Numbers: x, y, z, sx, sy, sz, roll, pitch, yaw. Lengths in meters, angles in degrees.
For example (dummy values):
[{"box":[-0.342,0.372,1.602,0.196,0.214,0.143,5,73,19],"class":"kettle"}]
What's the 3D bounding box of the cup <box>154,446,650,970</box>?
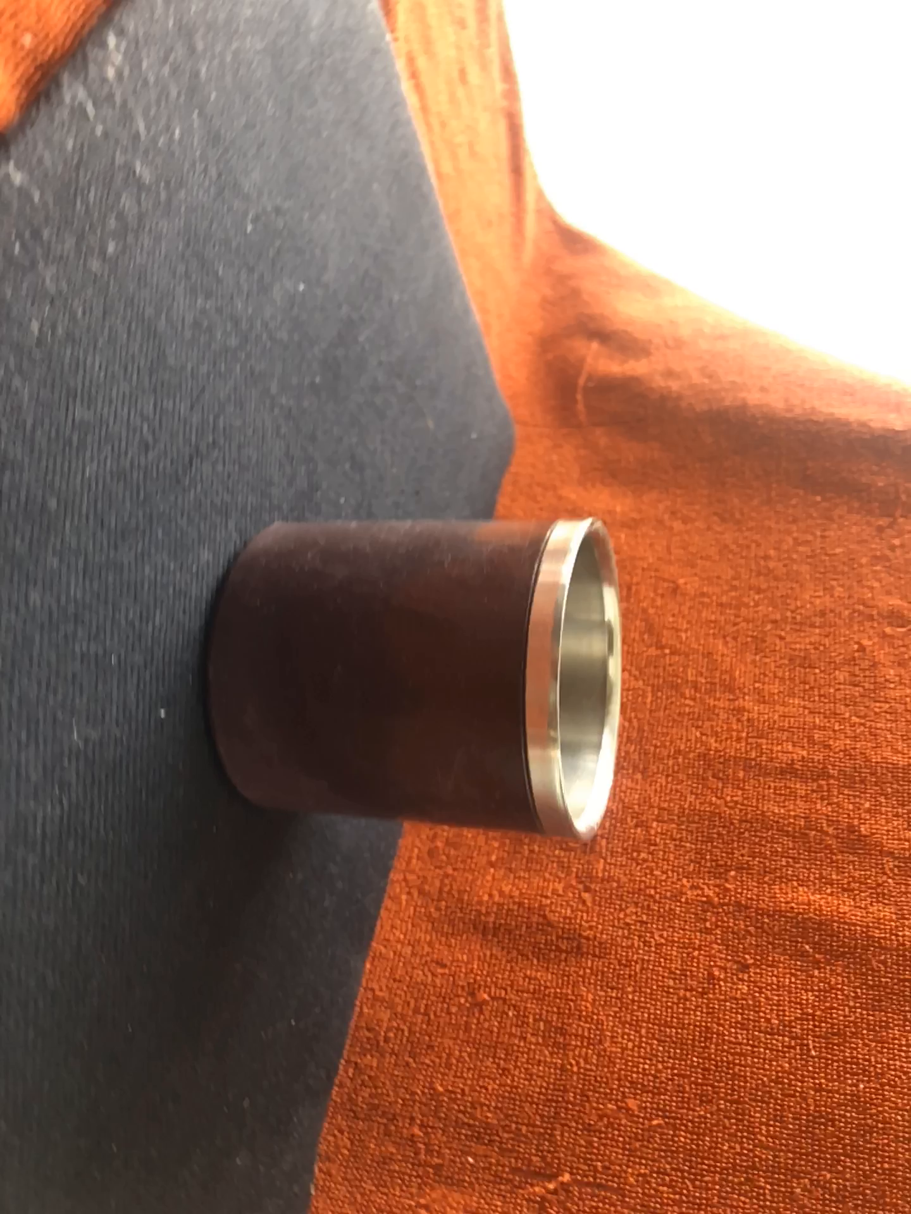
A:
[{"box":[-0.002,0.028,0.282,0.110,0.089,0.090,71,28,-46],"class":"cup"}]
